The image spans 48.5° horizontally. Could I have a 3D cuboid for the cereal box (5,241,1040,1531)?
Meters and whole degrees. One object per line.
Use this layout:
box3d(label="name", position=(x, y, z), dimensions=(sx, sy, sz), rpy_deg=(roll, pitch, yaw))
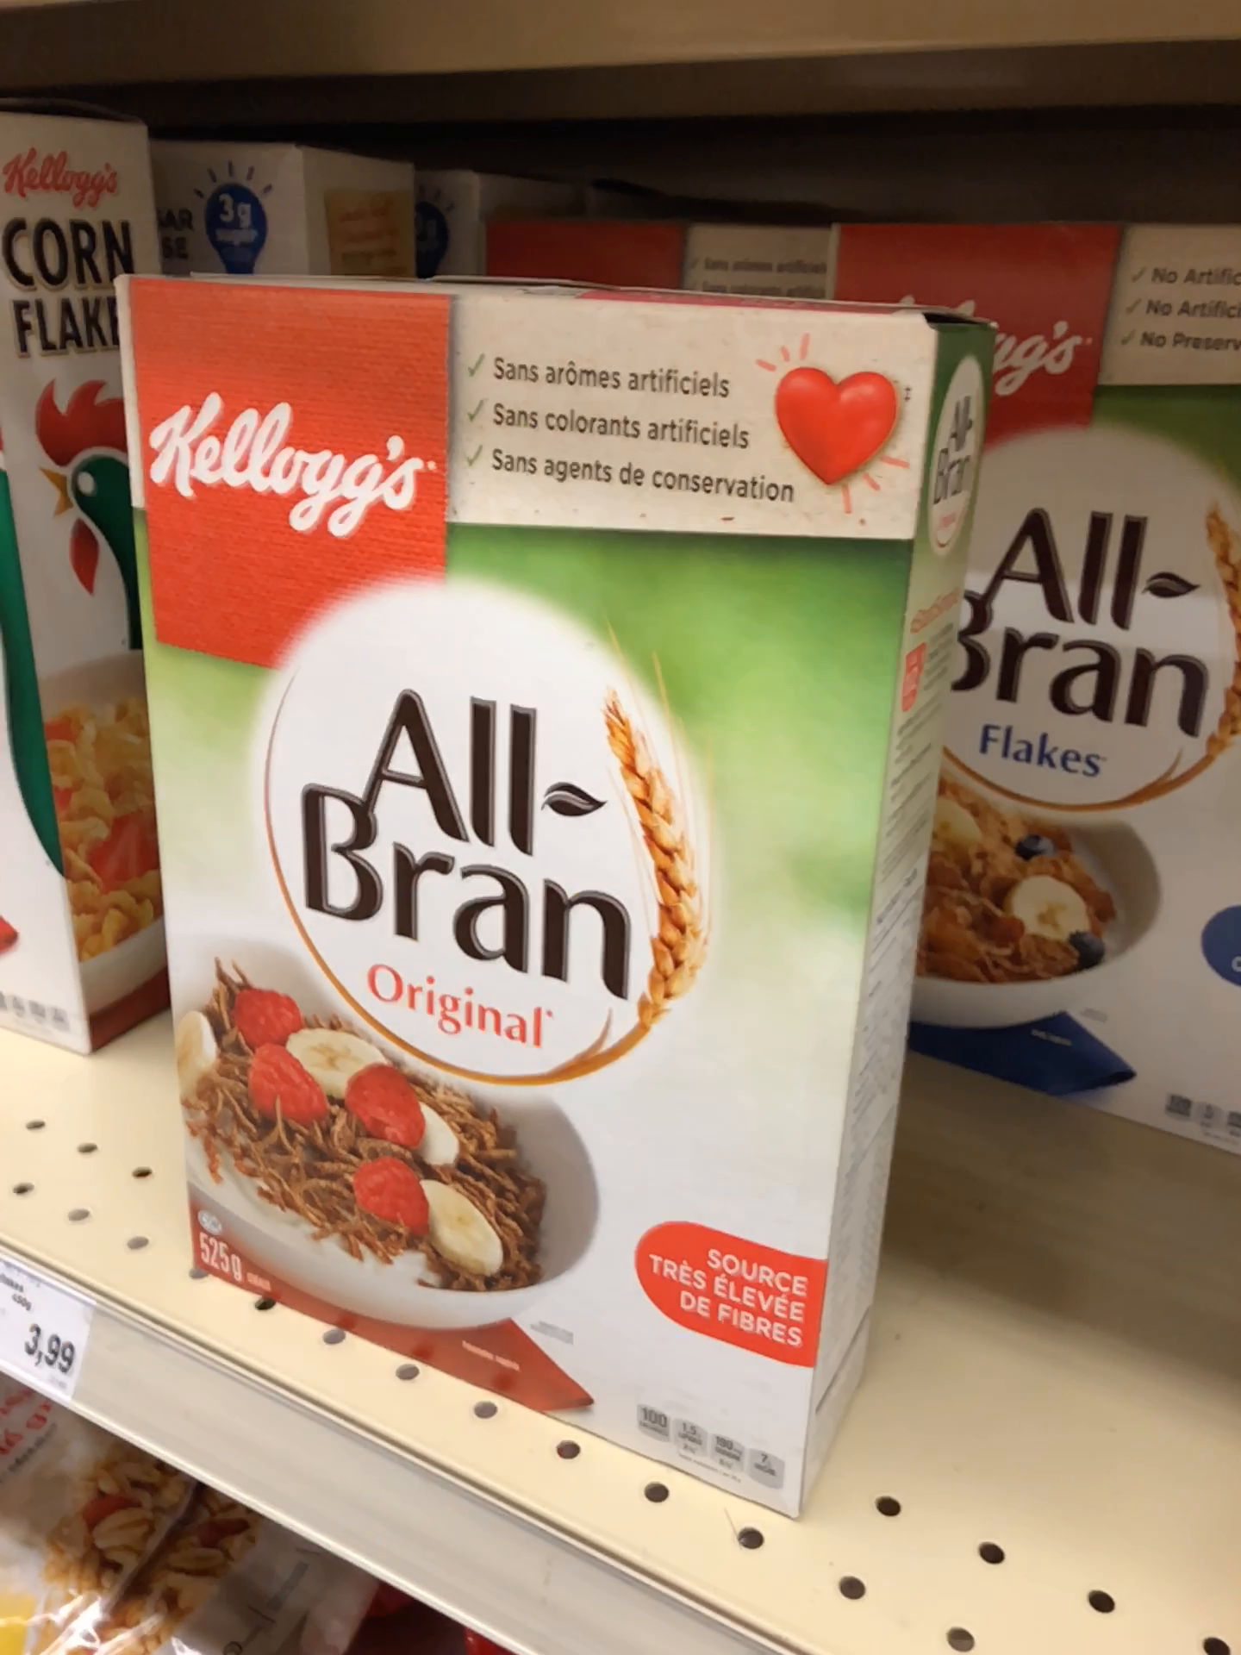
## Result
box3d(label="cereal box", position=(-0.028, 0.006, 0.296), dimensions=(0.190, 0.238, 0.050), rpy_deg=(12, 24, 24))
